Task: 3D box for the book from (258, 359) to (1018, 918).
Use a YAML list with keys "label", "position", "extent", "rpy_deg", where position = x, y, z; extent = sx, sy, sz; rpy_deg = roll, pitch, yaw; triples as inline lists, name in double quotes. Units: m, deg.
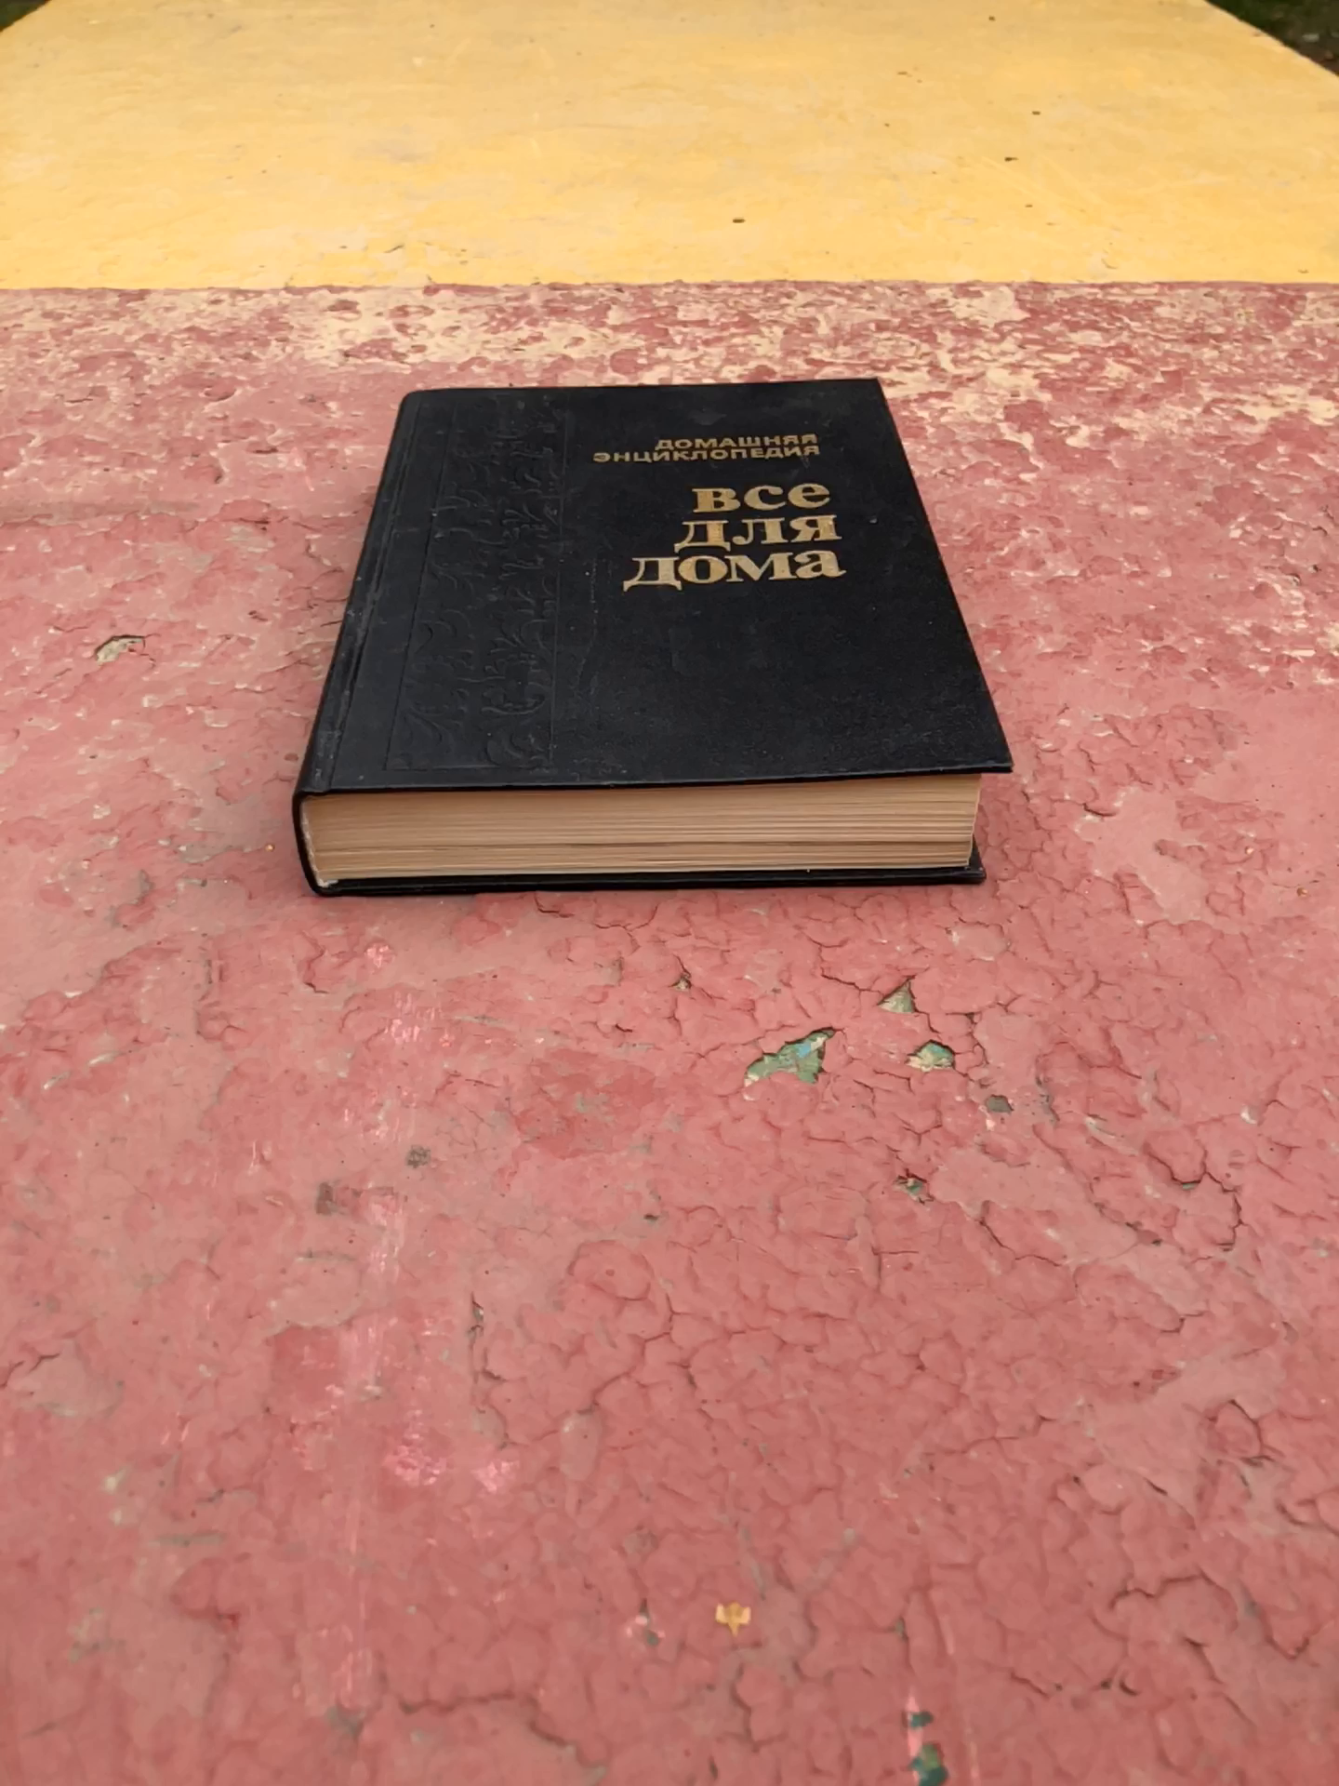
- label: "book"
  position: [-0.009, -0.079, 0.385]
  extent: [0.150, 0.040, 0.211]
  rpy_deg: [-1, 40, -1]
